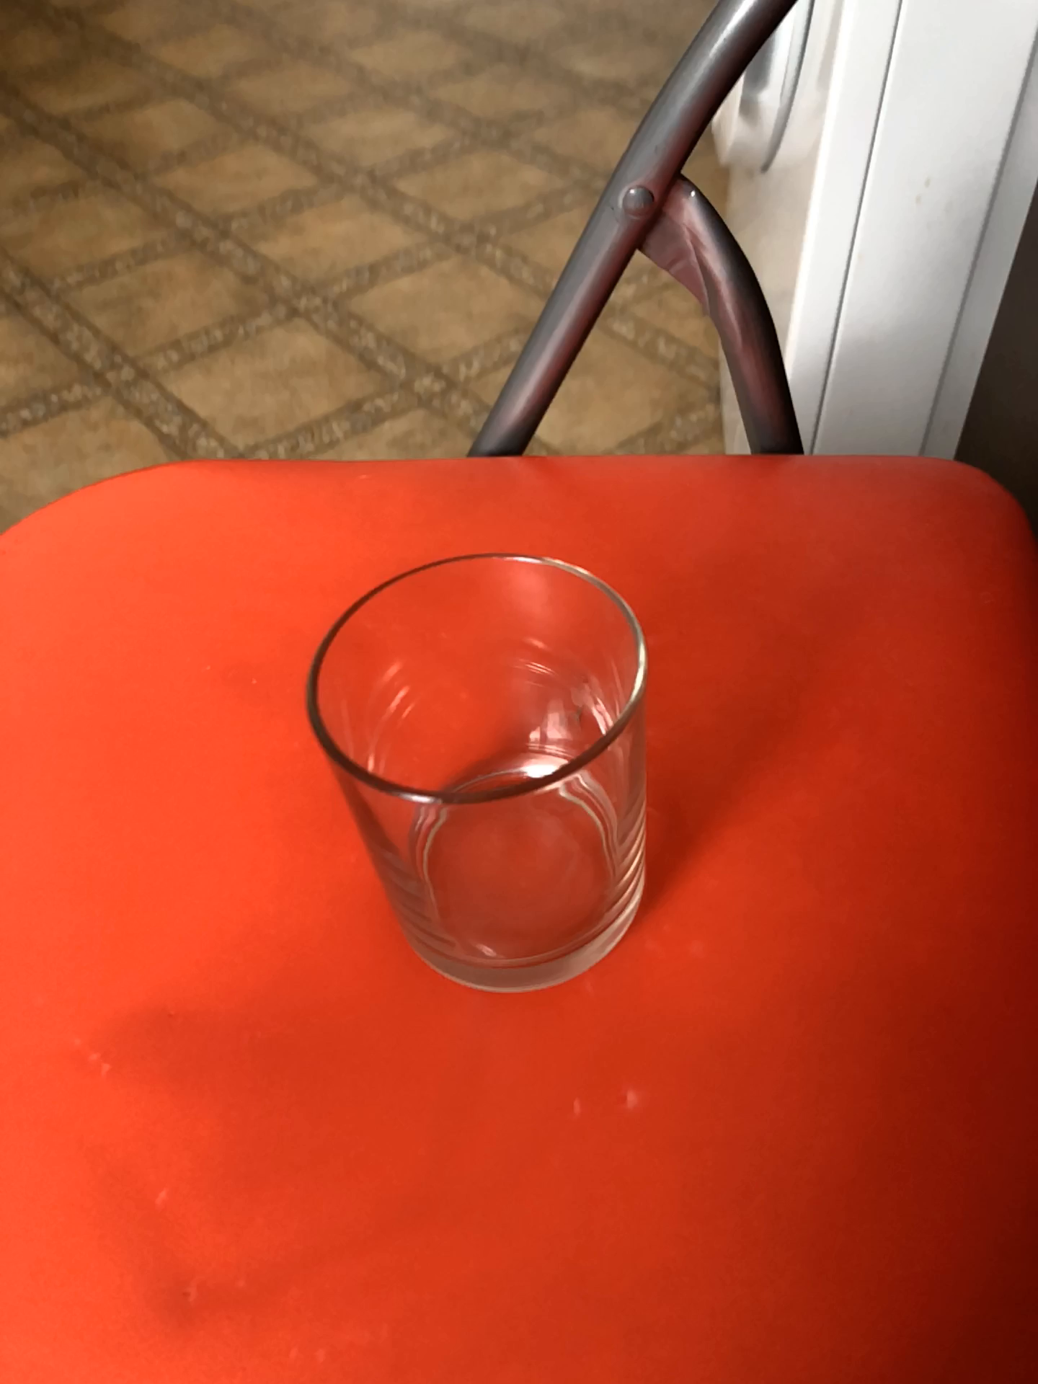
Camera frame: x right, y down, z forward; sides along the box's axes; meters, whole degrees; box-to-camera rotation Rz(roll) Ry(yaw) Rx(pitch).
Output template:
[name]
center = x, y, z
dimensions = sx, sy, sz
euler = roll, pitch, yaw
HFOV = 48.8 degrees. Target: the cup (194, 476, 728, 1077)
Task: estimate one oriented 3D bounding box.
[cup]
center = -0.010, 0.018, 0.264
dimensions = 0.080, 0.082, 0.078
euler = -3, 47, 4
